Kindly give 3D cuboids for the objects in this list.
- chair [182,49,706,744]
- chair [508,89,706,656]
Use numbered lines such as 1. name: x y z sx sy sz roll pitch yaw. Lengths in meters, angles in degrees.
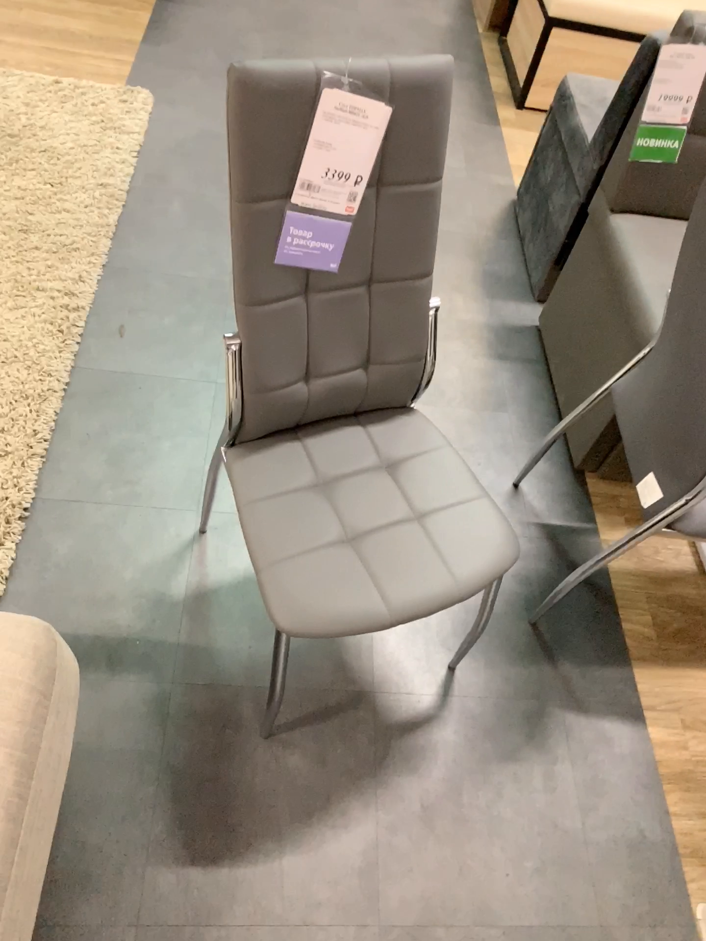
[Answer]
1. chair: 0.028 -0.030 1.197 0.471 1.025 0.532 -13 58 -20
2. chair: 0.762 -0.075 1.419 0.550 1.025 0.452 8 53 -6
